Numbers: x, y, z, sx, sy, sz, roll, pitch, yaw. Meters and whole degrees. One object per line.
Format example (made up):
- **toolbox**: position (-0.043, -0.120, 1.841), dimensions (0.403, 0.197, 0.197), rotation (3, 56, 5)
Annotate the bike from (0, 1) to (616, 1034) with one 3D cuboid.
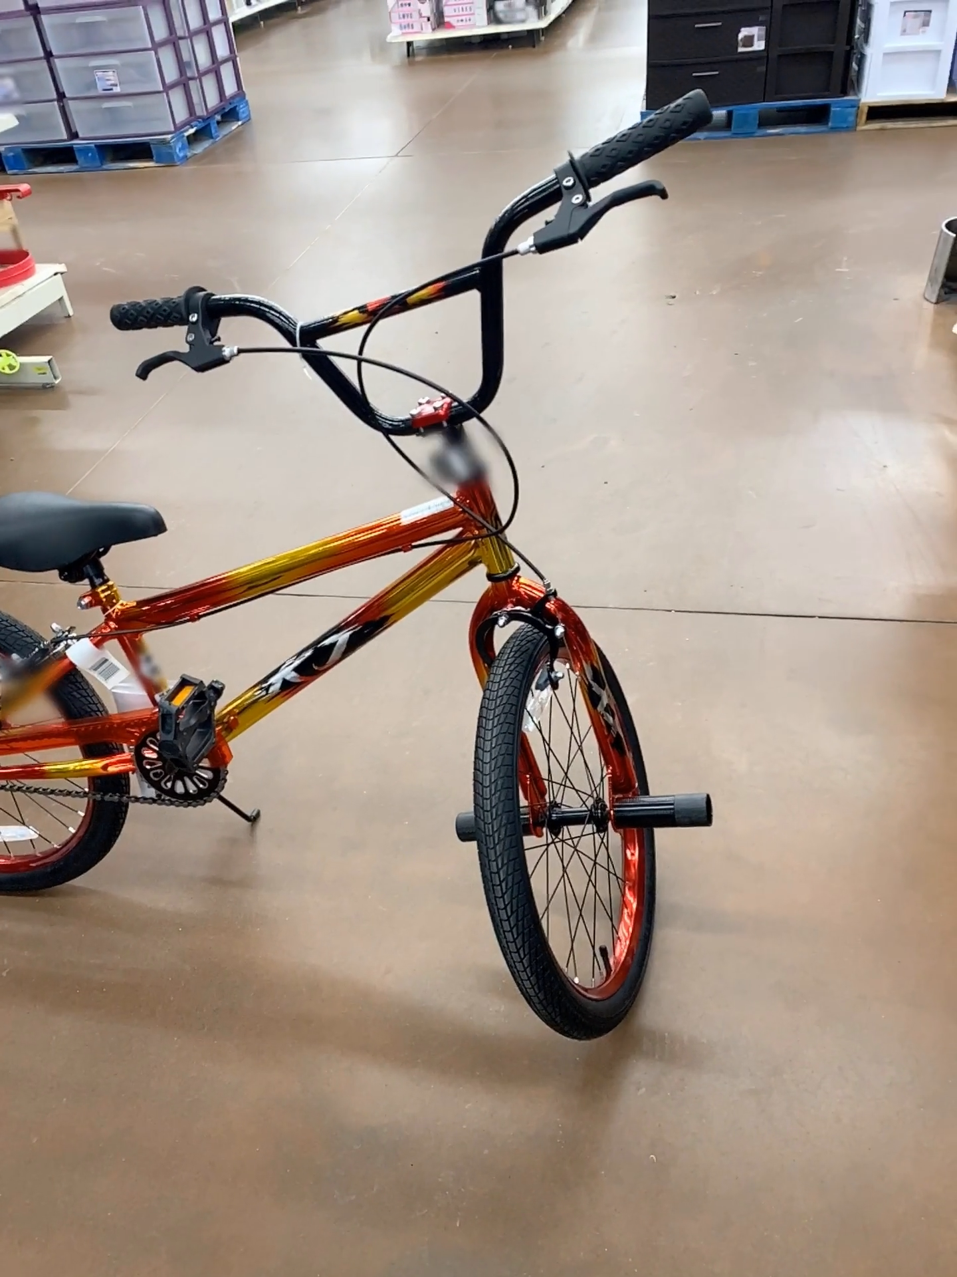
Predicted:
- **bike**: position (-0.396, -0.142, 1.237), dimensions (1.122, 0.925, 0.707), rotation (-4, 38, 4)
